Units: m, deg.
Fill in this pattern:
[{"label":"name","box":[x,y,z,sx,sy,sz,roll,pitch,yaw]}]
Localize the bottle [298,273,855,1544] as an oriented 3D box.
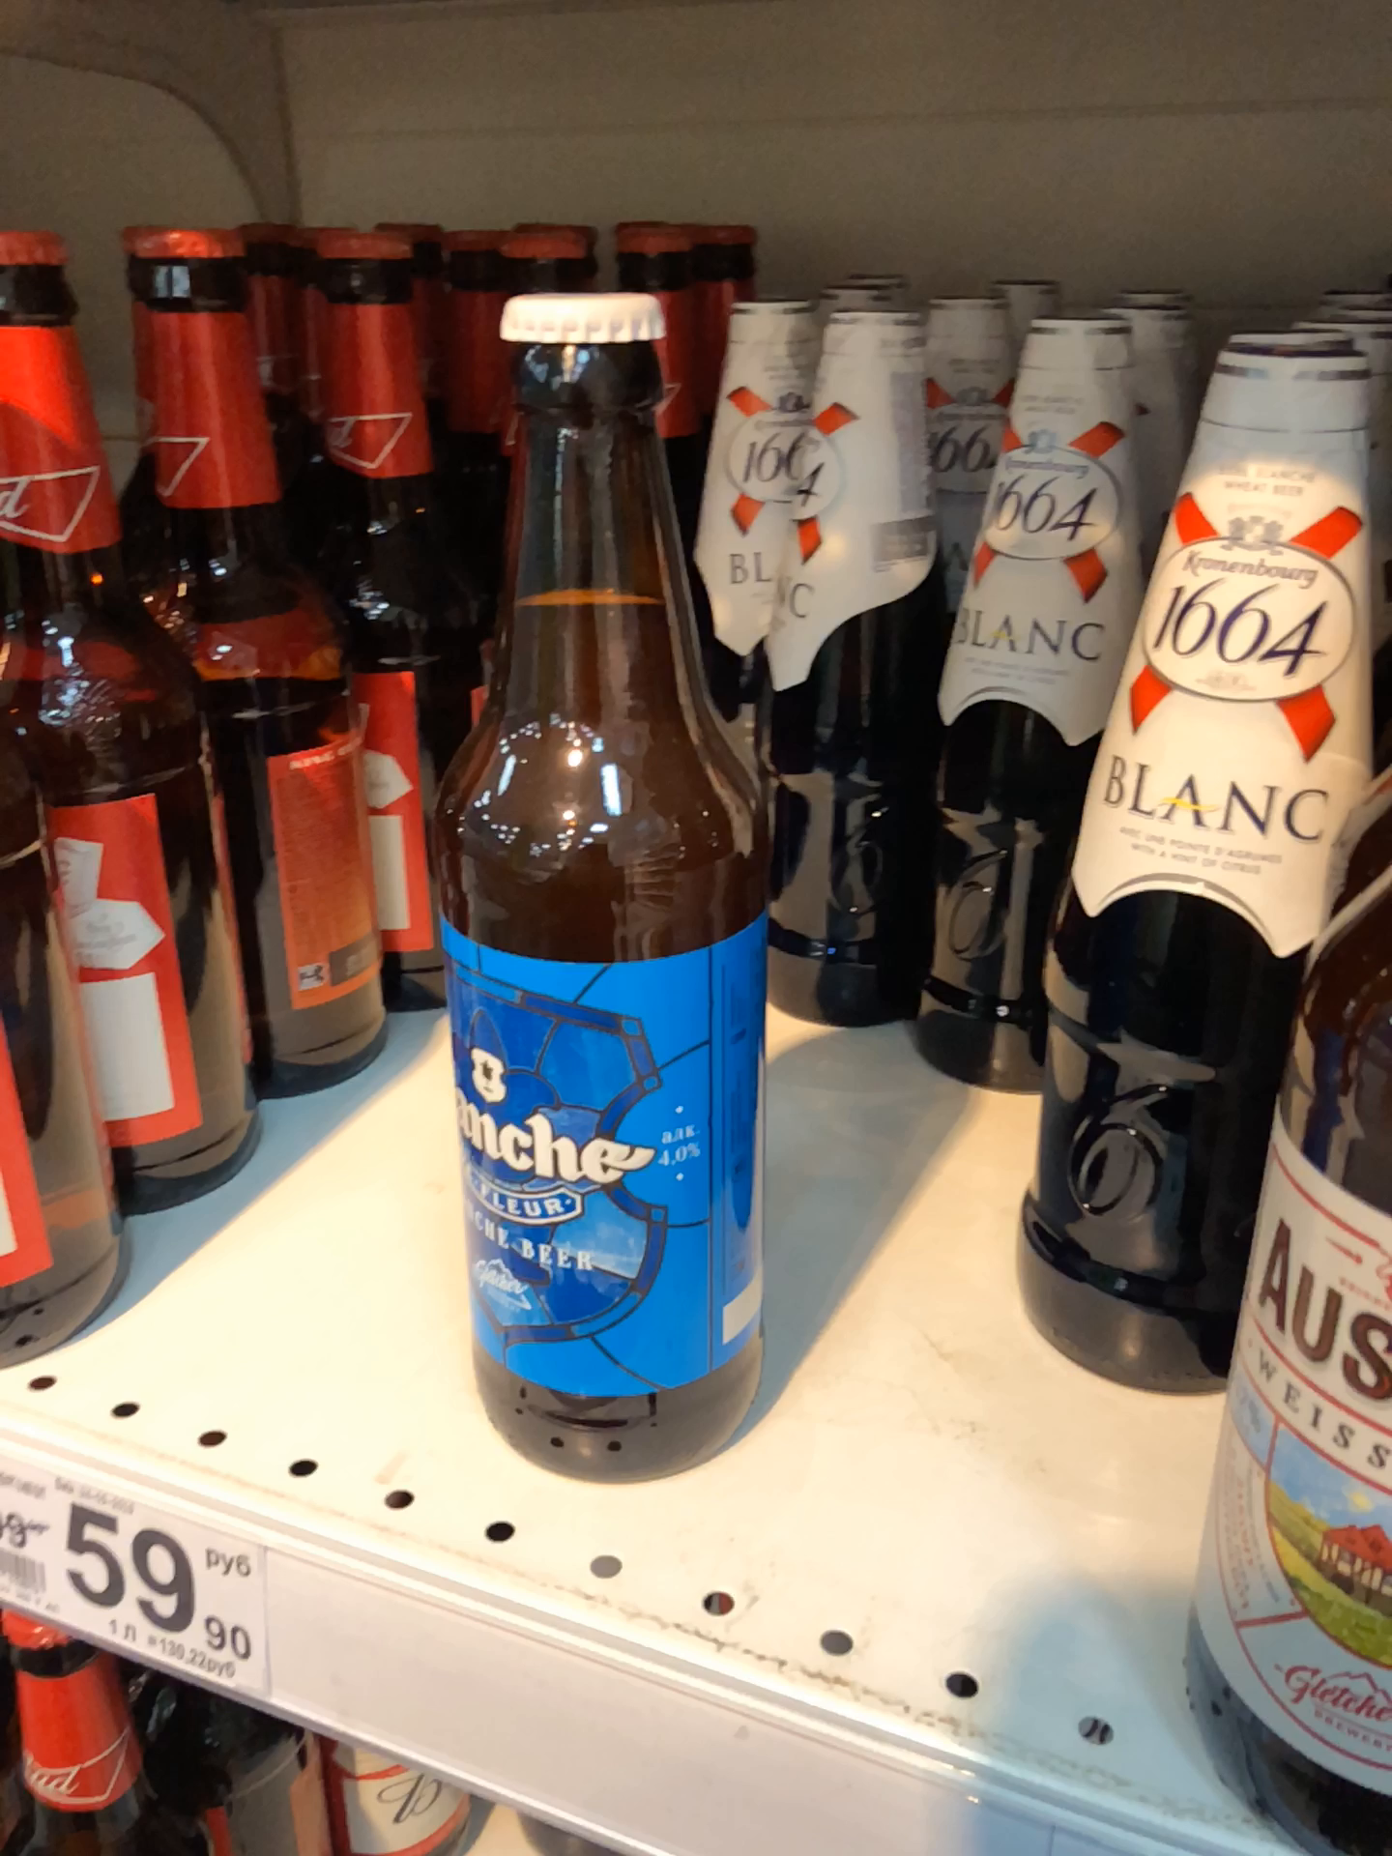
[{"label":"bottle","box":[-0.019,-0.003,0.319,0.070,0.244,0.070,0,23,0]}]
